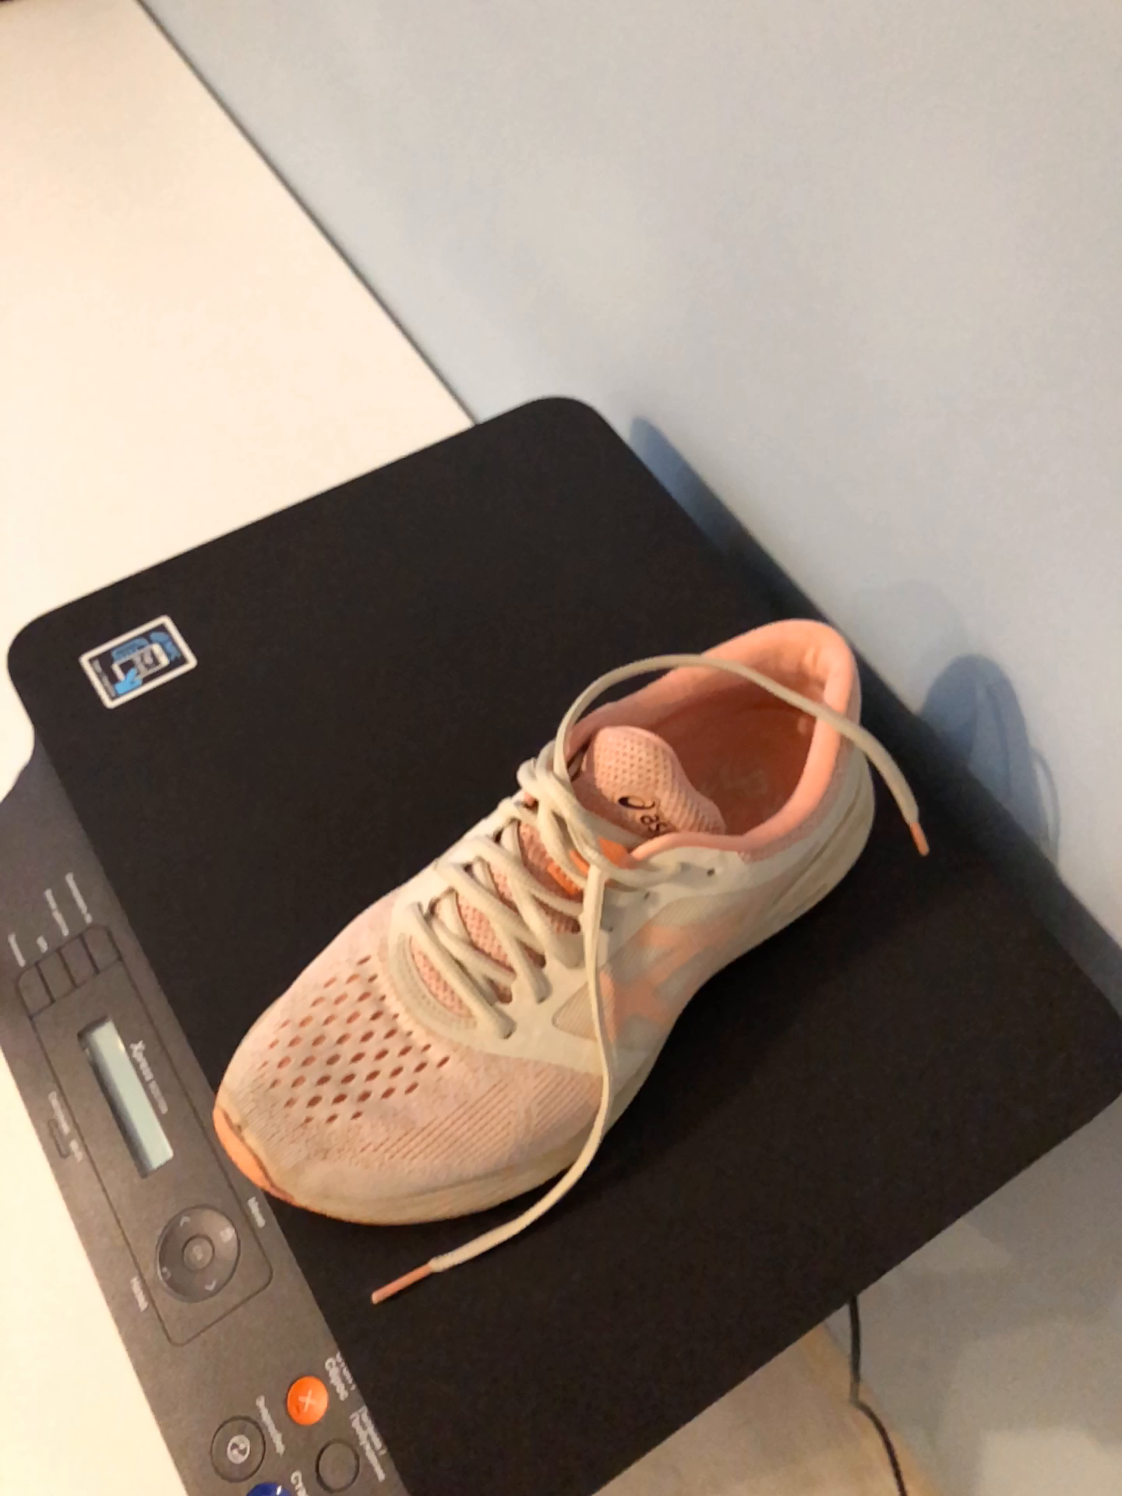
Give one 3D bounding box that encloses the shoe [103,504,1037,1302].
[{"bbox_3d":[0.008,0.043,0.403,0.253,0.090,0.116,-31,66,-17],"label":"shoe"}]
